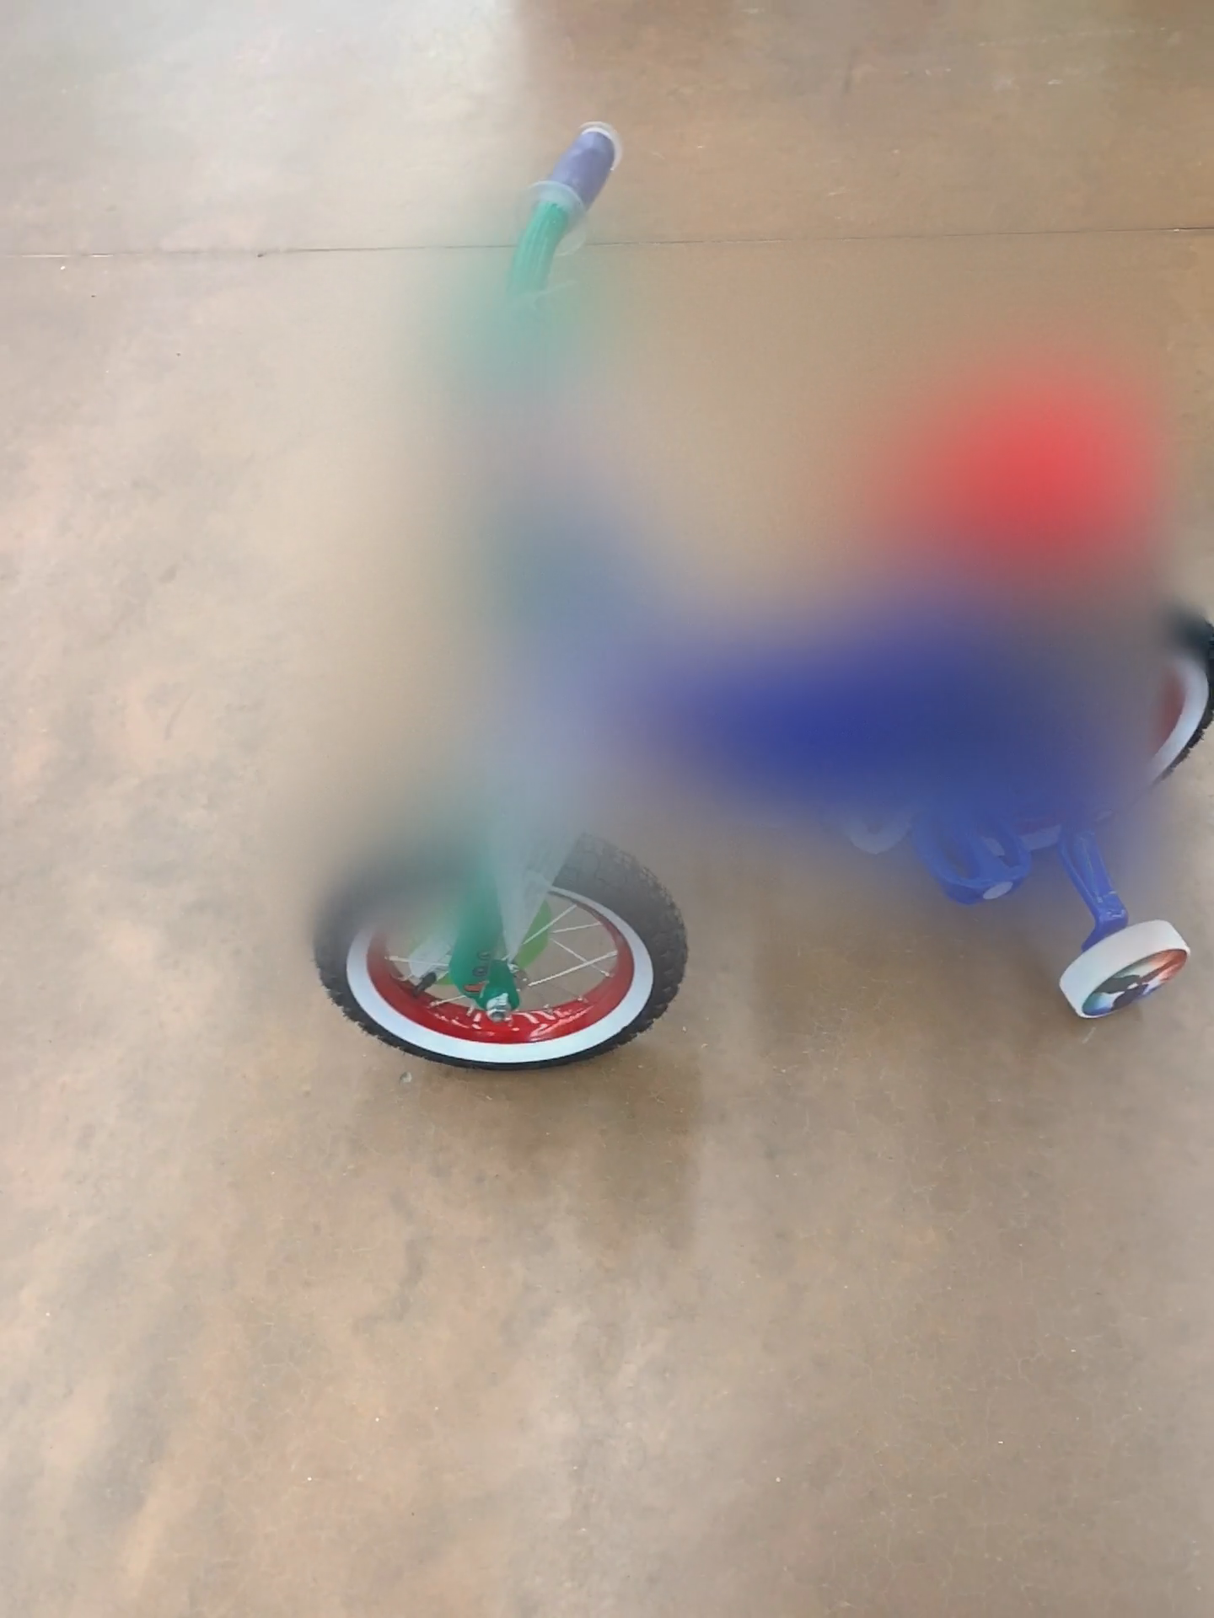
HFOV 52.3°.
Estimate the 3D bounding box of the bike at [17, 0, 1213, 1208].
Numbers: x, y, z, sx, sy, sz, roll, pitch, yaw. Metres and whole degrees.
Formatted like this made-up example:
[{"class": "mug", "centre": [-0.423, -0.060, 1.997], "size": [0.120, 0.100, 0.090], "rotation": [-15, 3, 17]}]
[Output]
[{"class": "bike", "centre": [0.132, -0.138, 0.930], "size": [0.794, 0.695, 0.466], "rotation": [-16, 55, -5]}]
